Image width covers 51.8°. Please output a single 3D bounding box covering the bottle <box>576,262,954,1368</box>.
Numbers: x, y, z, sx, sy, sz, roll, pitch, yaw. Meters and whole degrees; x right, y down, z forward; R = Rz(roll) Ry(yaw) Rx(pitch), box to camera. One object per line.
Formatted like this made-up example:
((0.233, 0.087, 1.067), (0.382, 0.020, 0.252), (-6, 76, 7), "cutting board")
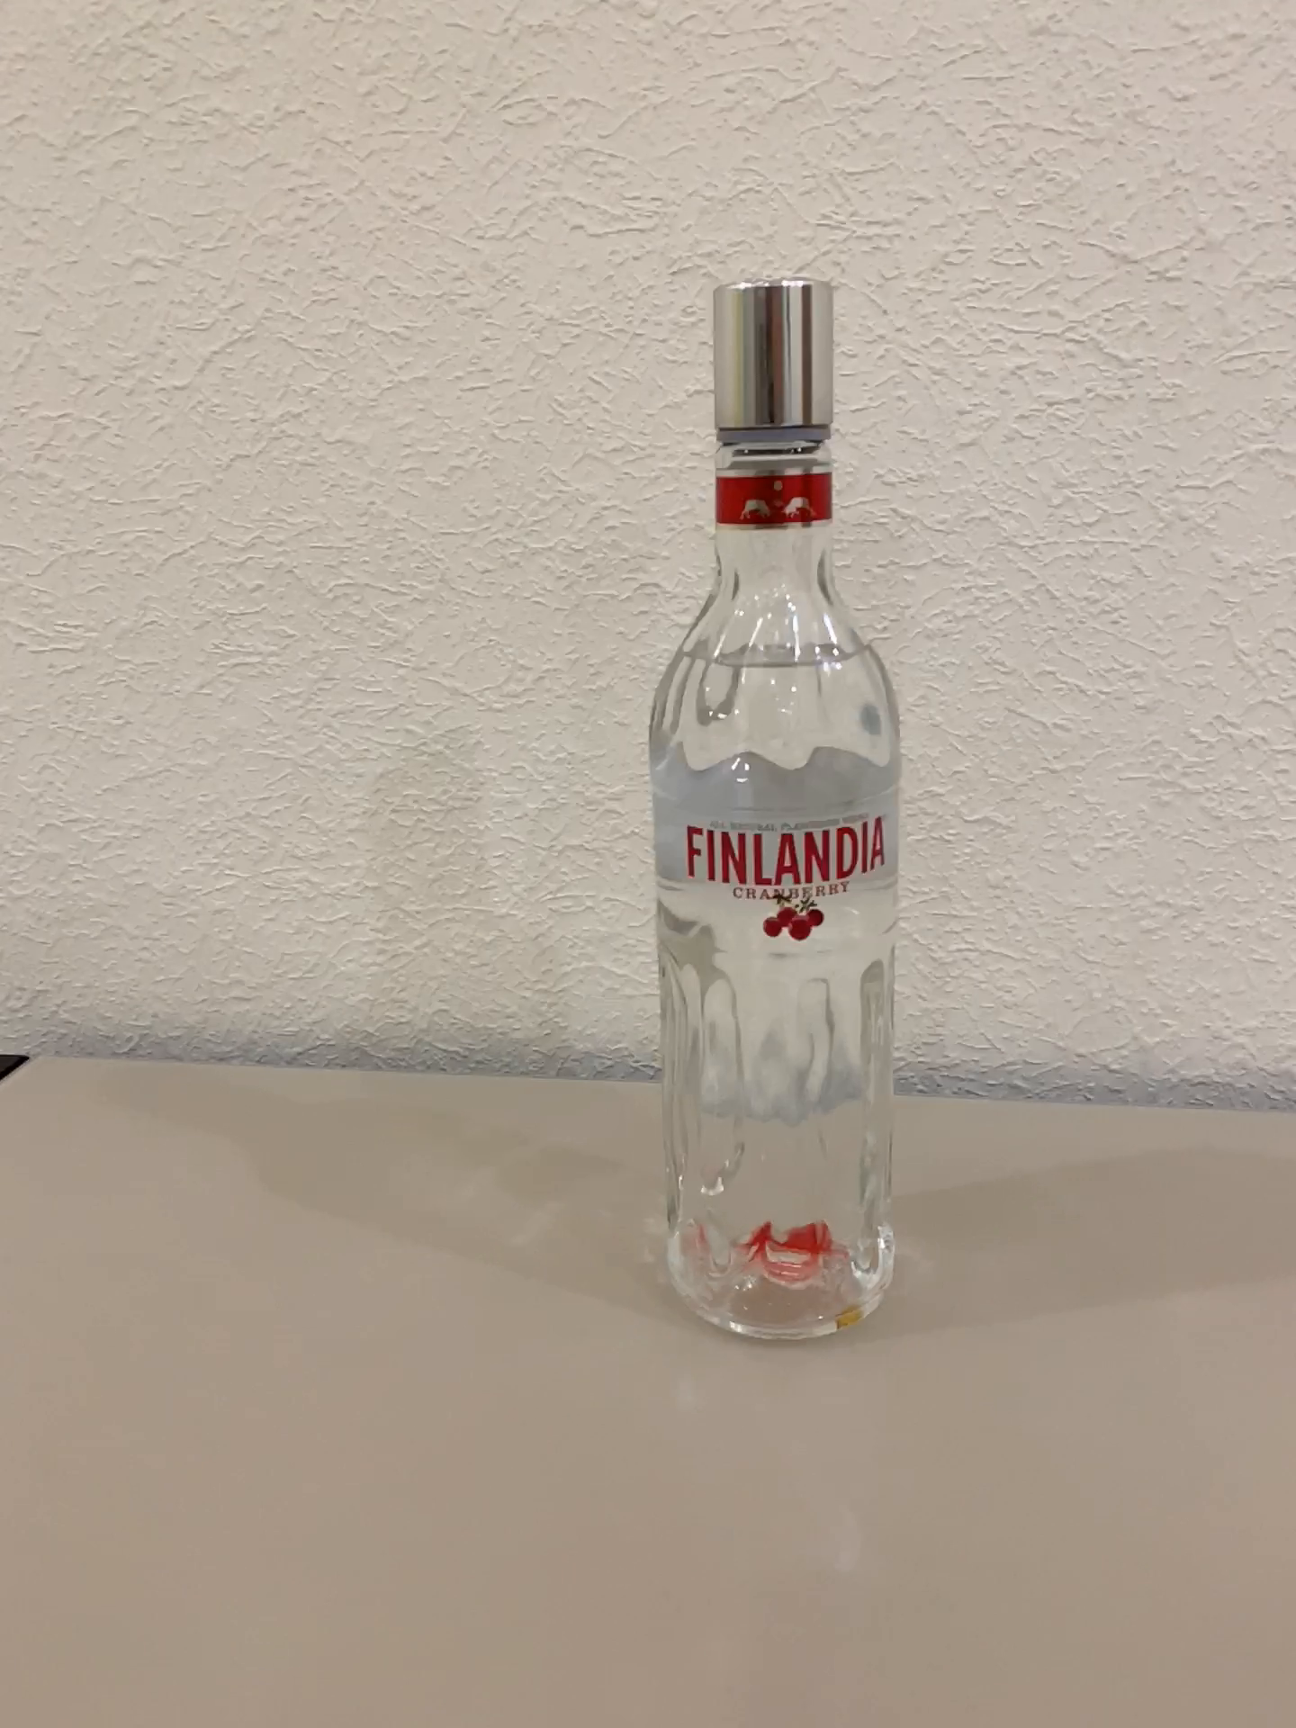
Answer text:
((0.034, -0.008, 0.406), (0.090, 0.309, 0.090), (-2, 17, 1), "bottle")
